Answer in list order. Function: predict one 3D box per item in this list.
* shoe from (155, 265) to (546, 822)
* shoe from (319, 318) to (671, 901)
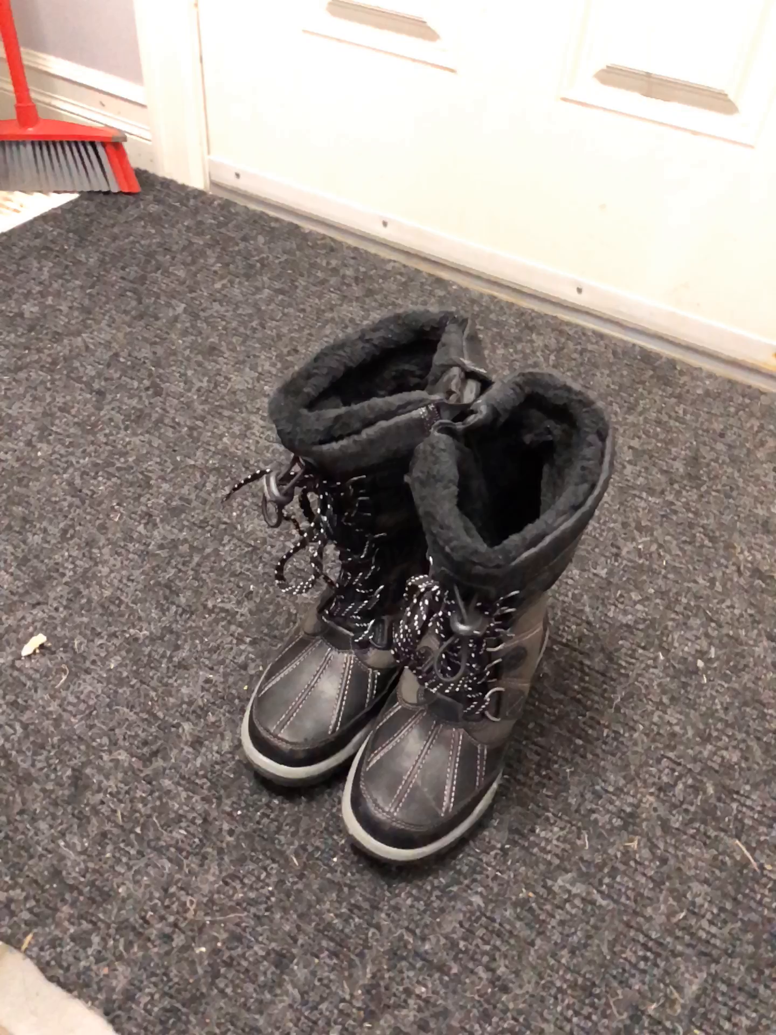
[{"bbox_3d":[-0.016,0.016,0.597,0.110,0.269,0.261,24,48,18],"label":"shoe"},{"bbox_3d":[0.066,0.059,0.567,0.100,0.269,0.261,23,47,17],"label":"shoe"}]
